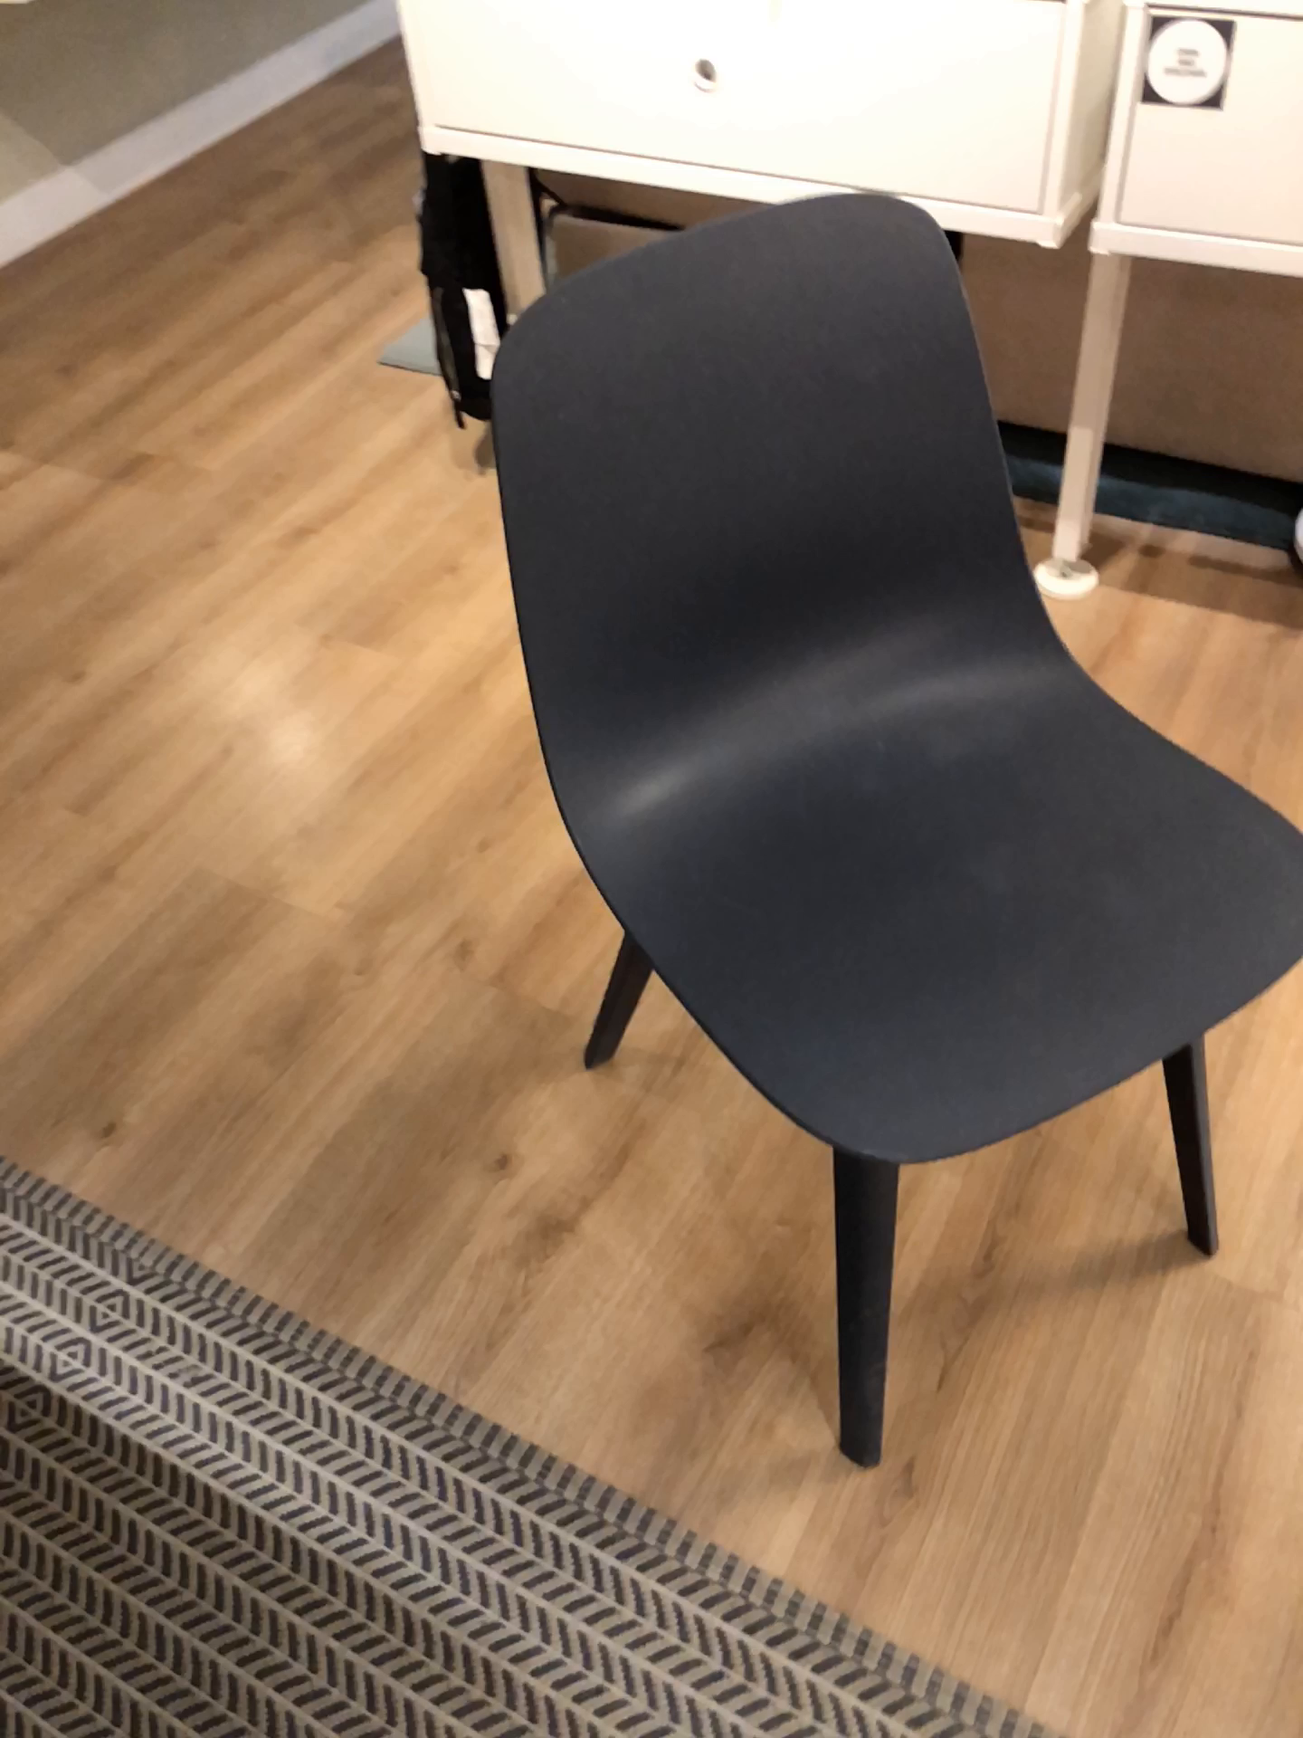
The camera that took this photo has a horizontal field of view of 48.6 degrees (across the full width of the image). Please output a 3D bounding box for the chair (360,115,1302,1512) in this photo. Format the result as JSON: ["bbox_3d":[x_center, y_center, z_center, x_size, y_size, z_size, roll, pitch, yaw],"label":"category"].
[{"bbox_3d":[0.188,-0.030,1.065,0.471,0.728,0.561,-25,49,-16],"label":"chair"}]
